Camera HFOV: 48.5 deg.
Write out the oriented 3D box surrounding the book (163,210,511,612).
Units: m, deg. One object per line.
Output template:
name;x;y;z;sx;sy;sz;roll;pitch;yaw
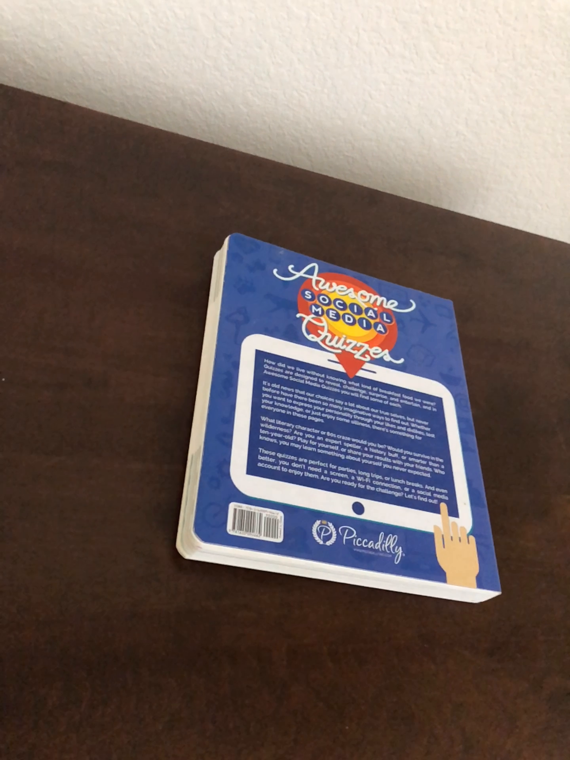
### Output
book;0.032;0.010;0.369;0.173;0.030;0.215;14;53;-17
